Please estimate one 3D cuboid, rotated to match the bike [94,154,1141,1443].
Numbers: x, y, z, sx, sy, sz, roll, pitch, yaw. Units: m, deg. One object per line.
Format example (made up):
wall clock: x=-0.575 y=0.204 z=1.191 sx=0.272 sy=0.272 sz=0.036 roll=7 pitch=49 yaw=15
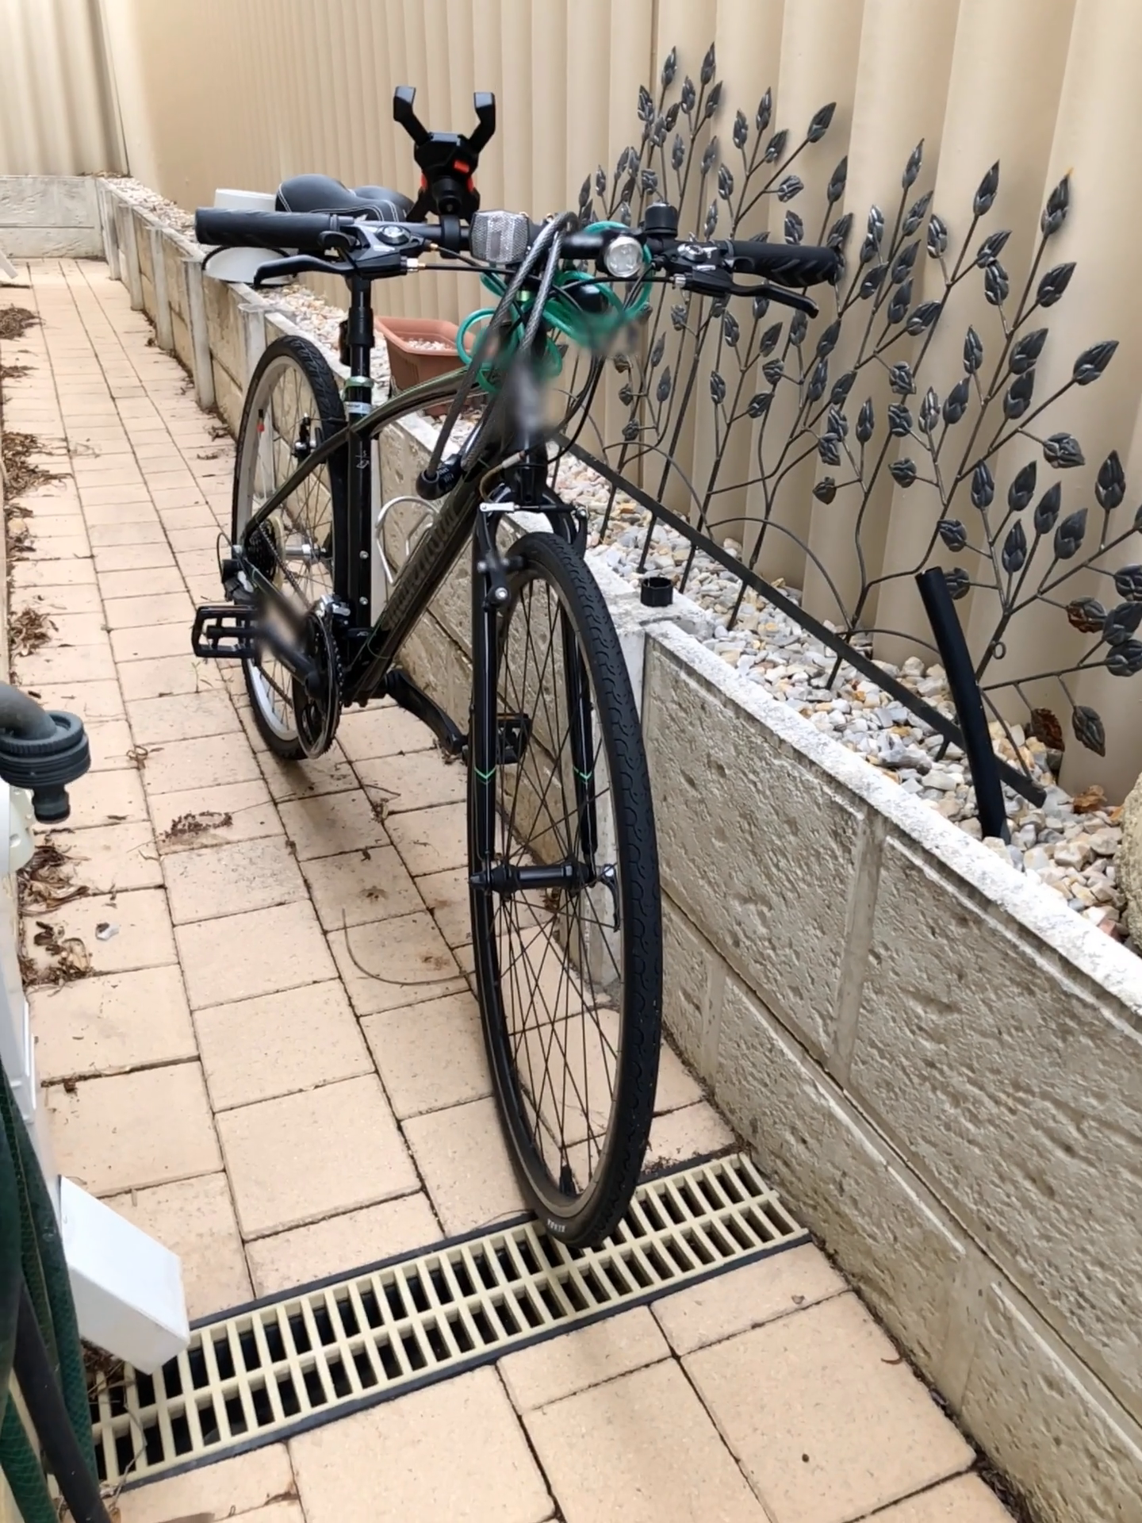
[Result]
bike: x=-0.153 y=-0.263 z=1.600 sx=0.638 sy=0.859 sz=1.705 roll=-9 pitch=29 yaw=-21
